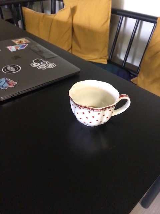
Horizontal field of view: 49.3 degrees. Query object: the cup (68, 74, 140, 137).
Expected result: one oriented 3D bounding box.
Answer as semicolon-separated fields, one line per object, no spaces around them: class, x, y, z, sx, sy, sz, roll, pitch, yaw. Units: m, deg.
cup;0.044;-0.007;0.345;0.120;0.069;0.091;8;38;5
